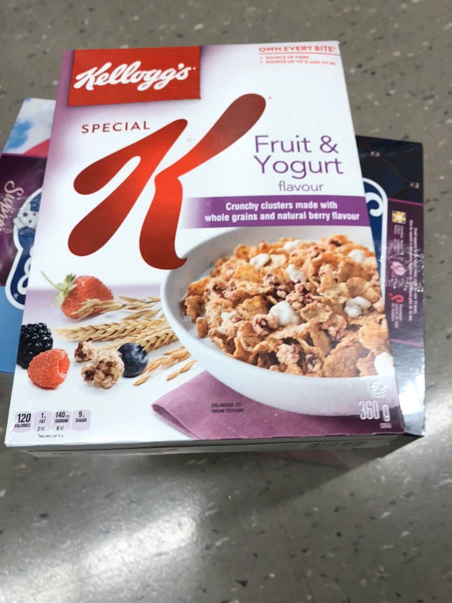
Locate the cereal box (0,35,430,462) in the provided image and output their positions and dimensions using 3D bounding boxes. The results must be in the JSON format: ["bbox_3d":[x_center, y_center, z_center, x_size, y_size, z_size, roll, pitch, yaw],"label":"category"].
[{"bbox_3d":[-0.014,-0.051,0.320,0.210,0.050,0.280,-2,63,0],"label":"cereal box"}]
